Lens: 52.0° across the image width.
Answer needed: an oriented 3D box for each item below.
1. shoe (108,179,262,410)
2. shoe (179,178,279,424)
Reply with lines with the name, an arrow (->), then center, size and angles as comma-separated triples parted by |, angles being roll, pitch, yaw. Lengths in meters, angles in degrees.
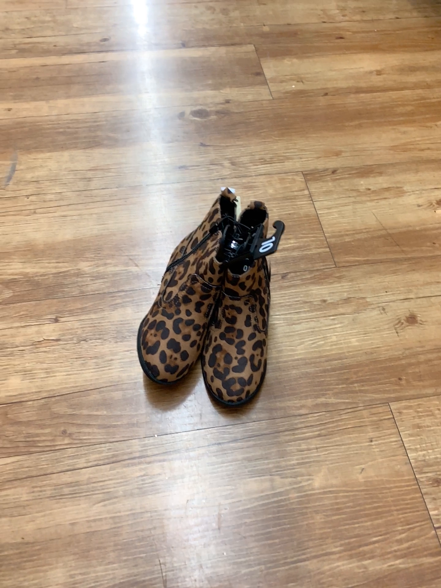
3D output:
shoe -> -0.032, 0.002, 0.439 | 0.070, 0.120, 0.181 | 25, 54, -20
shoe -> 0.012, 0.005, 0.420 | 0.070, 0.120, 0.191 | 4, 56, 1
